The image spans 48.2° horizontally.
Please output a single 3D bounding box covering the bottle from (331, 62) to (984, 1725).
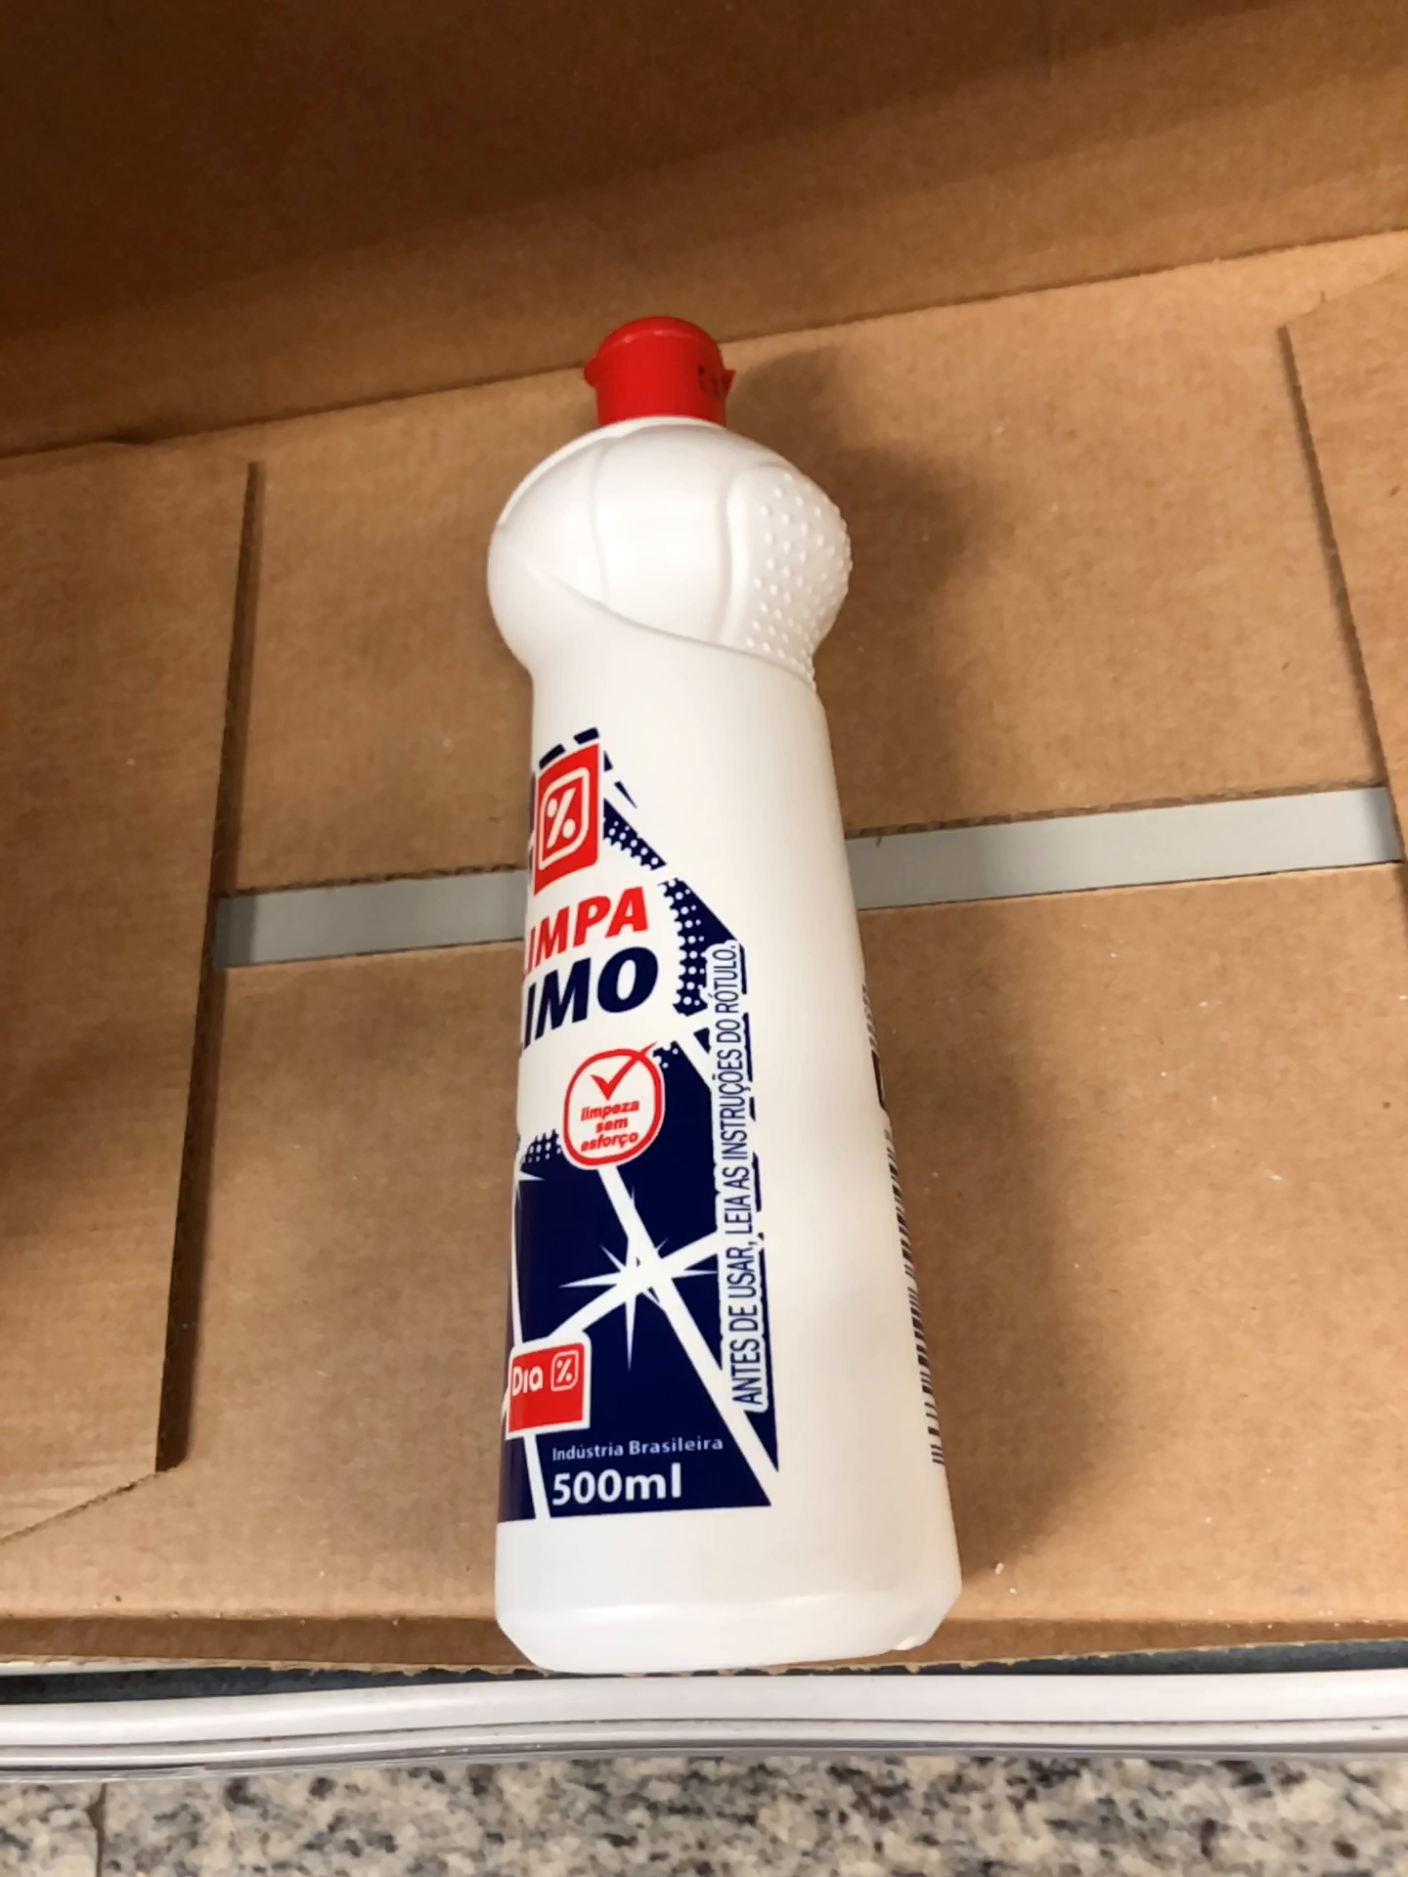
[{"bbox_3d":[-0.009,-0.017,0.265,0.080,0.060,0.261,-7,70,10],"label":"bottle"}]
